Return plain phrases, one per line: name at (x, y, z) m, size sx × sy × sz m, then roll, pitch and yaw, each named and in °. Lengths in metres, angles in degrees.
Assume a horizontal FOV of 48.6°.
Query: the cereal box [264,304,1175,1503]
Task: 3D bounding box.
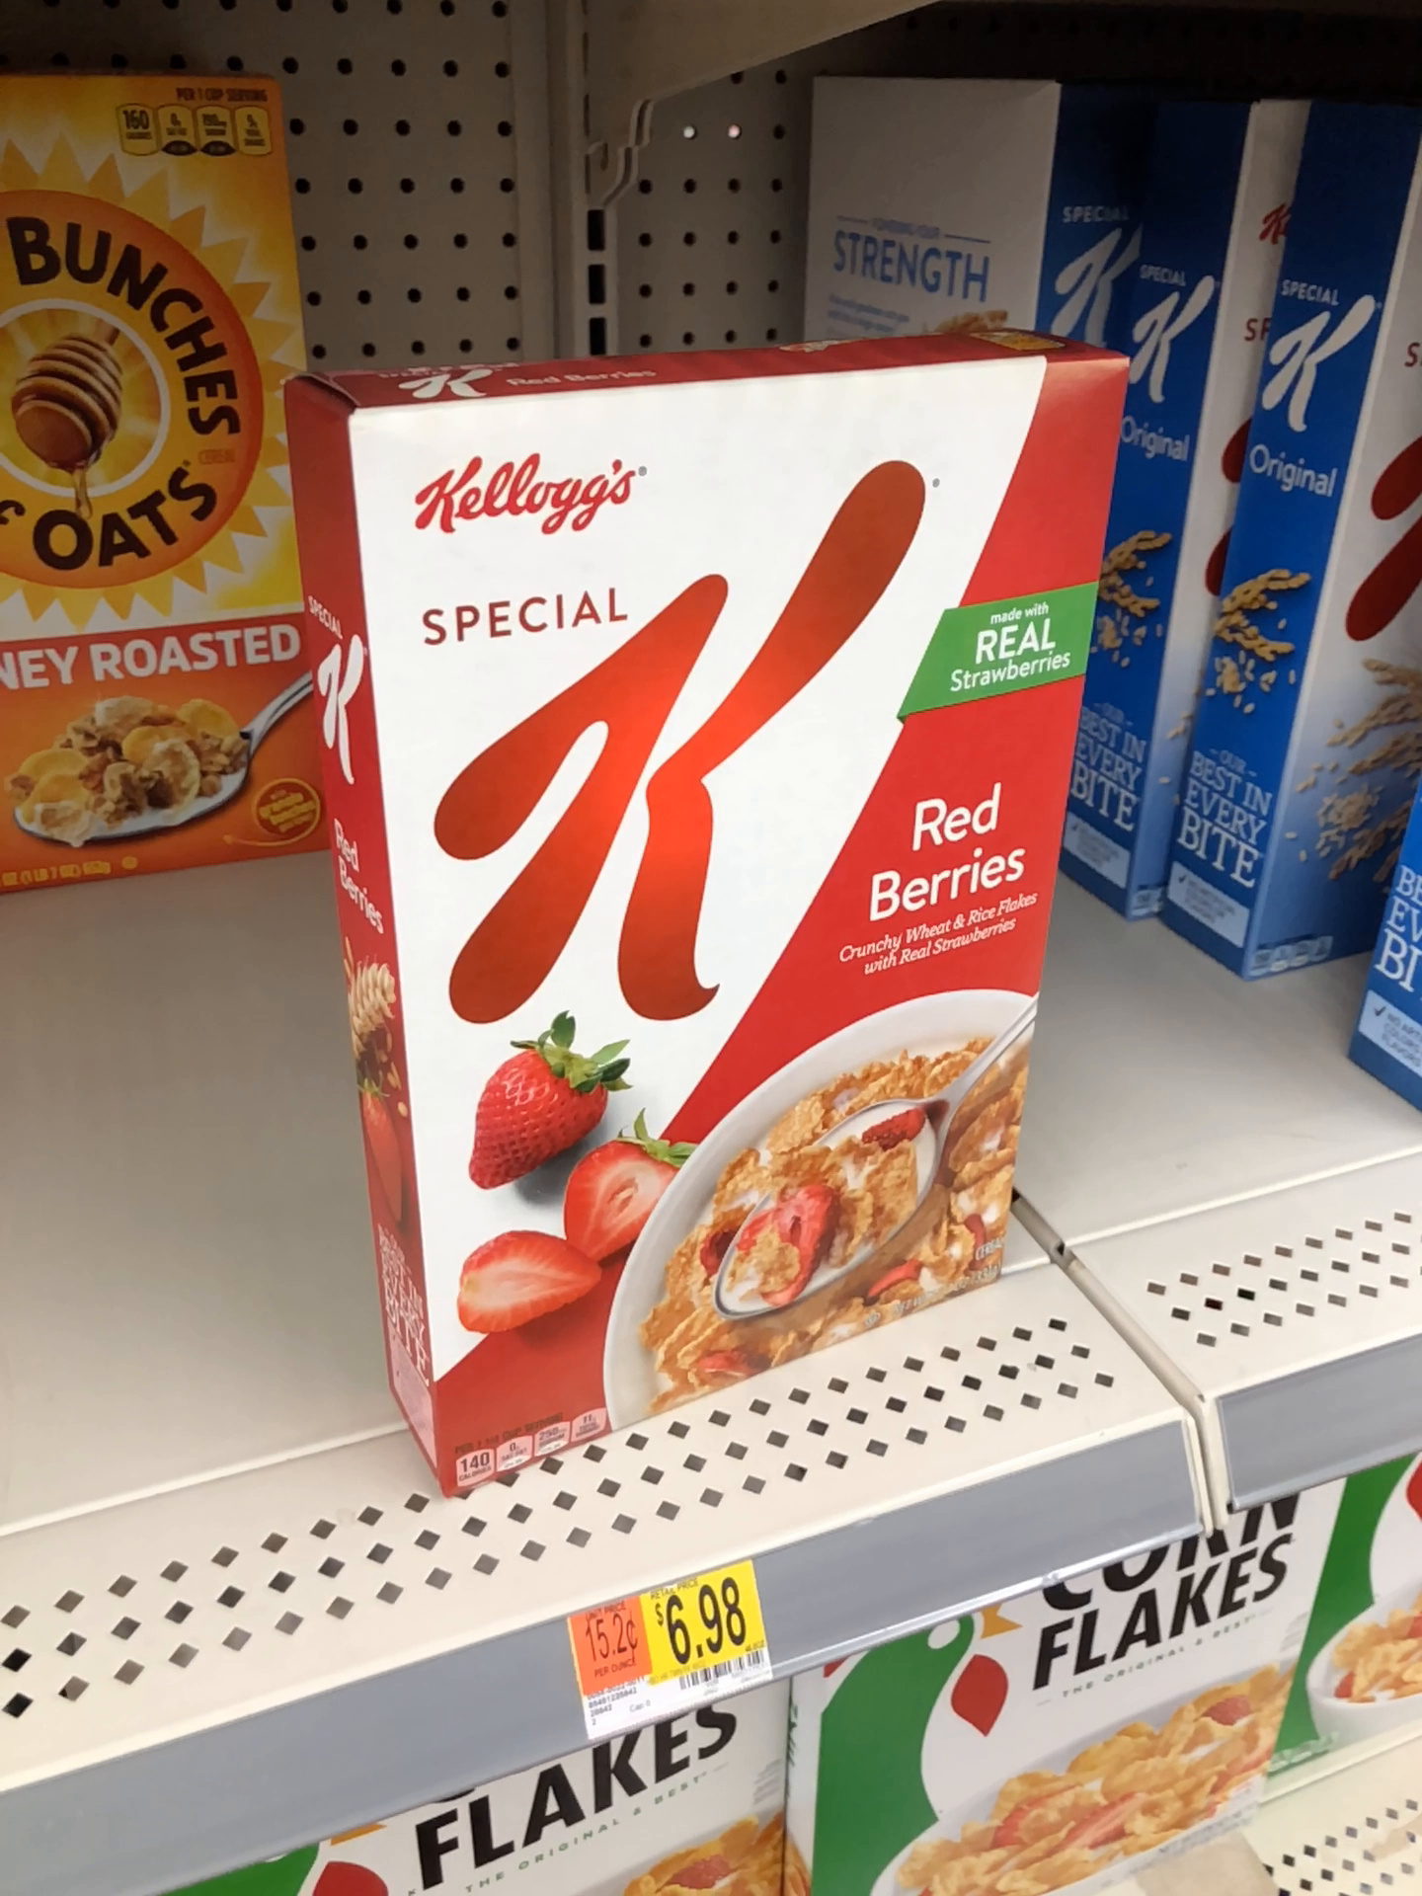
cereal box at (0.006, -0.007, 0.418) m, size 0.200 × 0.289 × 0.050 m, roll -14°, pitch 34°, yaw -25°
